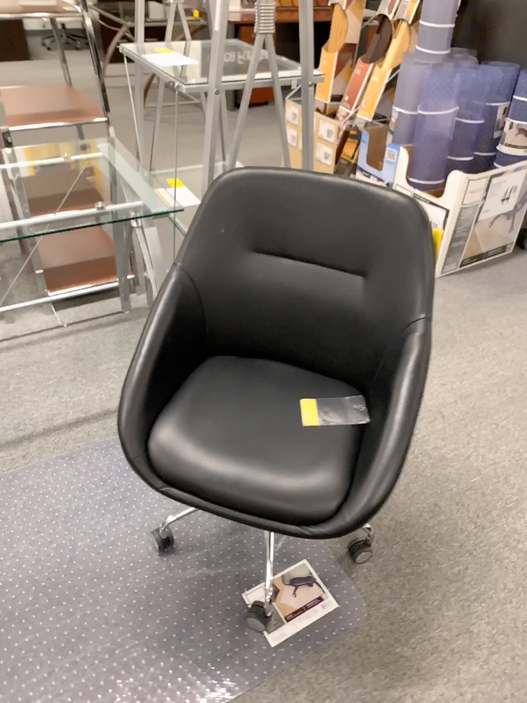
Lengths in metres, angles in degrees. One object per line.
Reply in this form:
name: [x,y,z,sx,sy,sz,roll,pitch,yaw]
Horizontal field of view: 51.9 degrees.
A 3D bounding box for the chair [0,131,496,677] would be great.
chair: [0.016,0.097,1.193,0.671,0.885,0.623,12,39,12]
